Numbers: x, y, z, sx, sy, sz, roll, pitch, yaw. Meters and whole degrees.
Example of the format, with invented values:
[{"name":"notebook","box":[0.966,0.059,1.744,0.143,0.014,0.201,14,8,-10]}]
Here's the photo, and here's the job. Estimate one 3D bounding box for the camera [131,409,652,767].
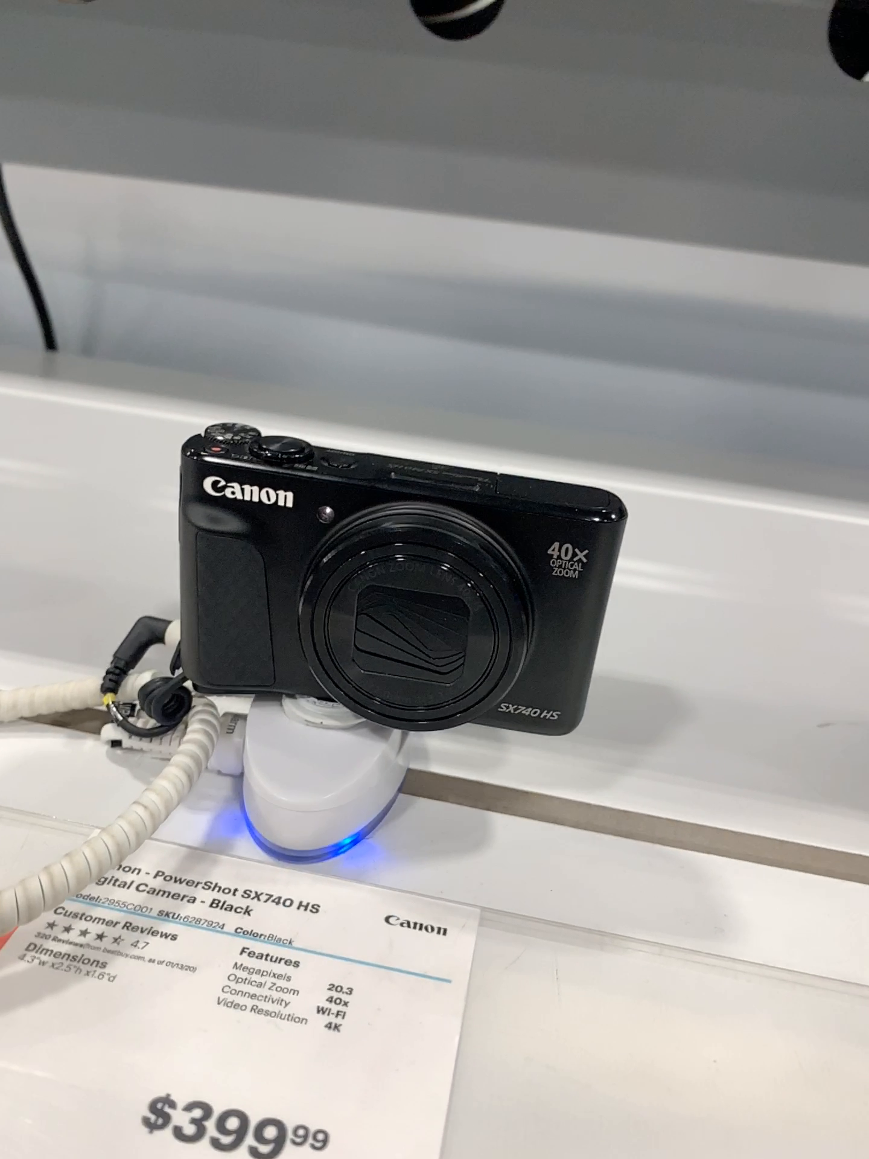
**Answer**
[{"name":"camera","box":[-0.012,0.000,0.237,0.120,0.064,0.042,9,25,3]}]
